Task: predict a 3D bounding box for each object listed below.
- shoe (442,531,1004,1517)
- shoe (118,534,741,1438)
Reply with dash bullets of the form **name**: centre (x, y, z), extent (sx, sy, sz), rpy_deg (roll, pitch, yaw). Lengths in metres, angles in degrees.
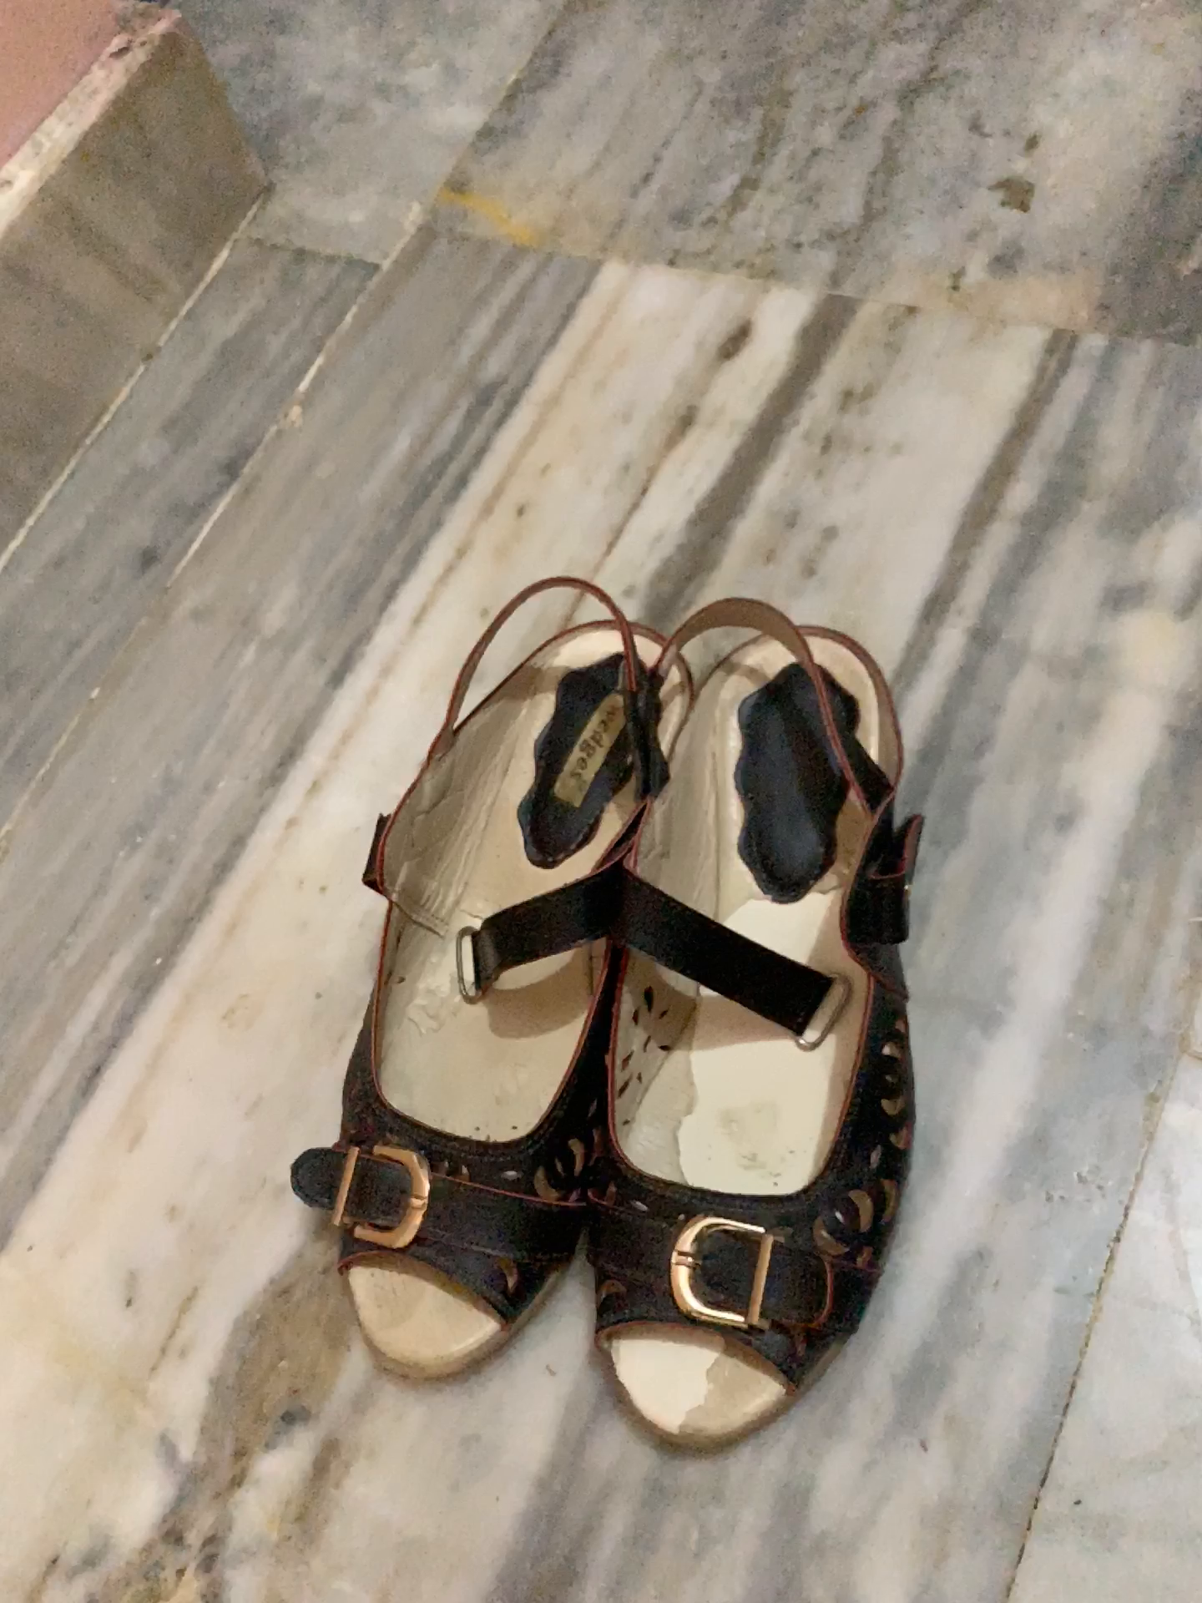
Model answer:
- **shoe**: centre (0.052, 0.056, 0.379), extent (0.100, 0.100, 0.259), rpy_deg (7, 66, 19)
- **shoe**: centre (-0.036, 0.051, 0.405), extent (0.100, 0.100, 0.259), rpy_deg (7, 66, 19)
